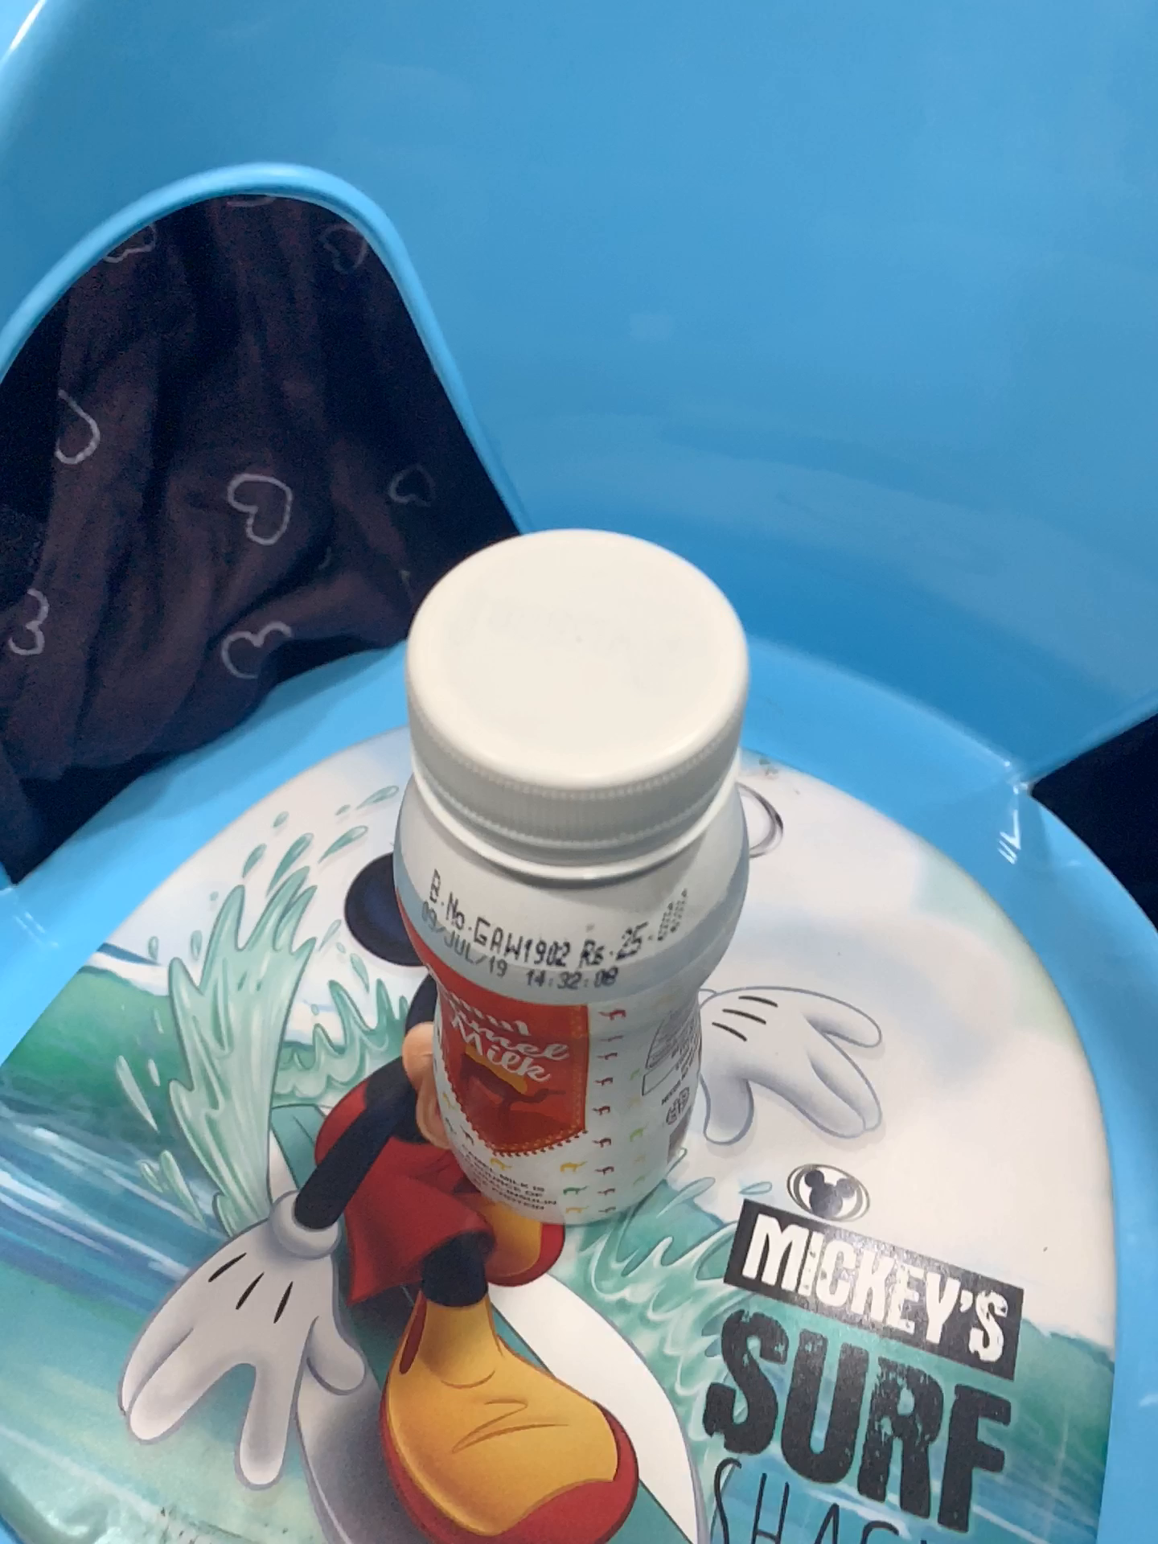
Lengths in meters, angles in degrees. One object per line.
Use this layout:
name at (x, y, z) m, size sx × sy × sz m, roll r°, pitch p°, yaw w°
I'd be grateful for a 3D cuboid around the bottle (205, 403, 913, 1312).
bottle at (-0.002, 0.022, 0.191) m, size 0.060 × 0.130 × 0.060 m, roll 1°, pitch 50°, yaw -1°
